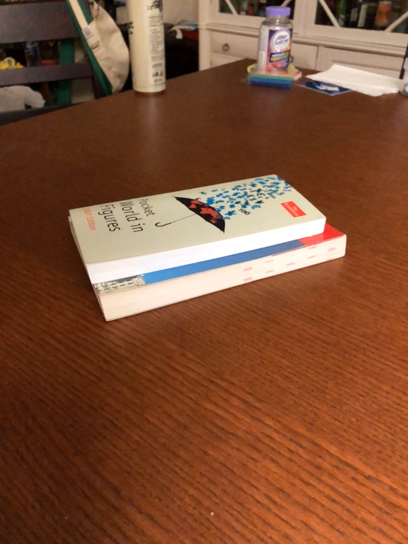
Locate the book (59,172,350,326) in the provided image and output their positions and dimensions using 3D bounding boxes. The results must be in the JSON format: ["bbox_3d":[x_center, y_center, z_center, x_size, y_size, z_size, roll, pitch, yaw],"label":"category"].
[{"bbox_3d":[-0.006,-0.034,0.390,0.210,0.020,0.141,-14,38,-18],"label":"book"}]

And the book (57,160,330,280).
[{"bbox_3d":[-0.012,-0.051,0.372,0.200,0.020,0.101,-13,38,-16],"label":"book"}]
